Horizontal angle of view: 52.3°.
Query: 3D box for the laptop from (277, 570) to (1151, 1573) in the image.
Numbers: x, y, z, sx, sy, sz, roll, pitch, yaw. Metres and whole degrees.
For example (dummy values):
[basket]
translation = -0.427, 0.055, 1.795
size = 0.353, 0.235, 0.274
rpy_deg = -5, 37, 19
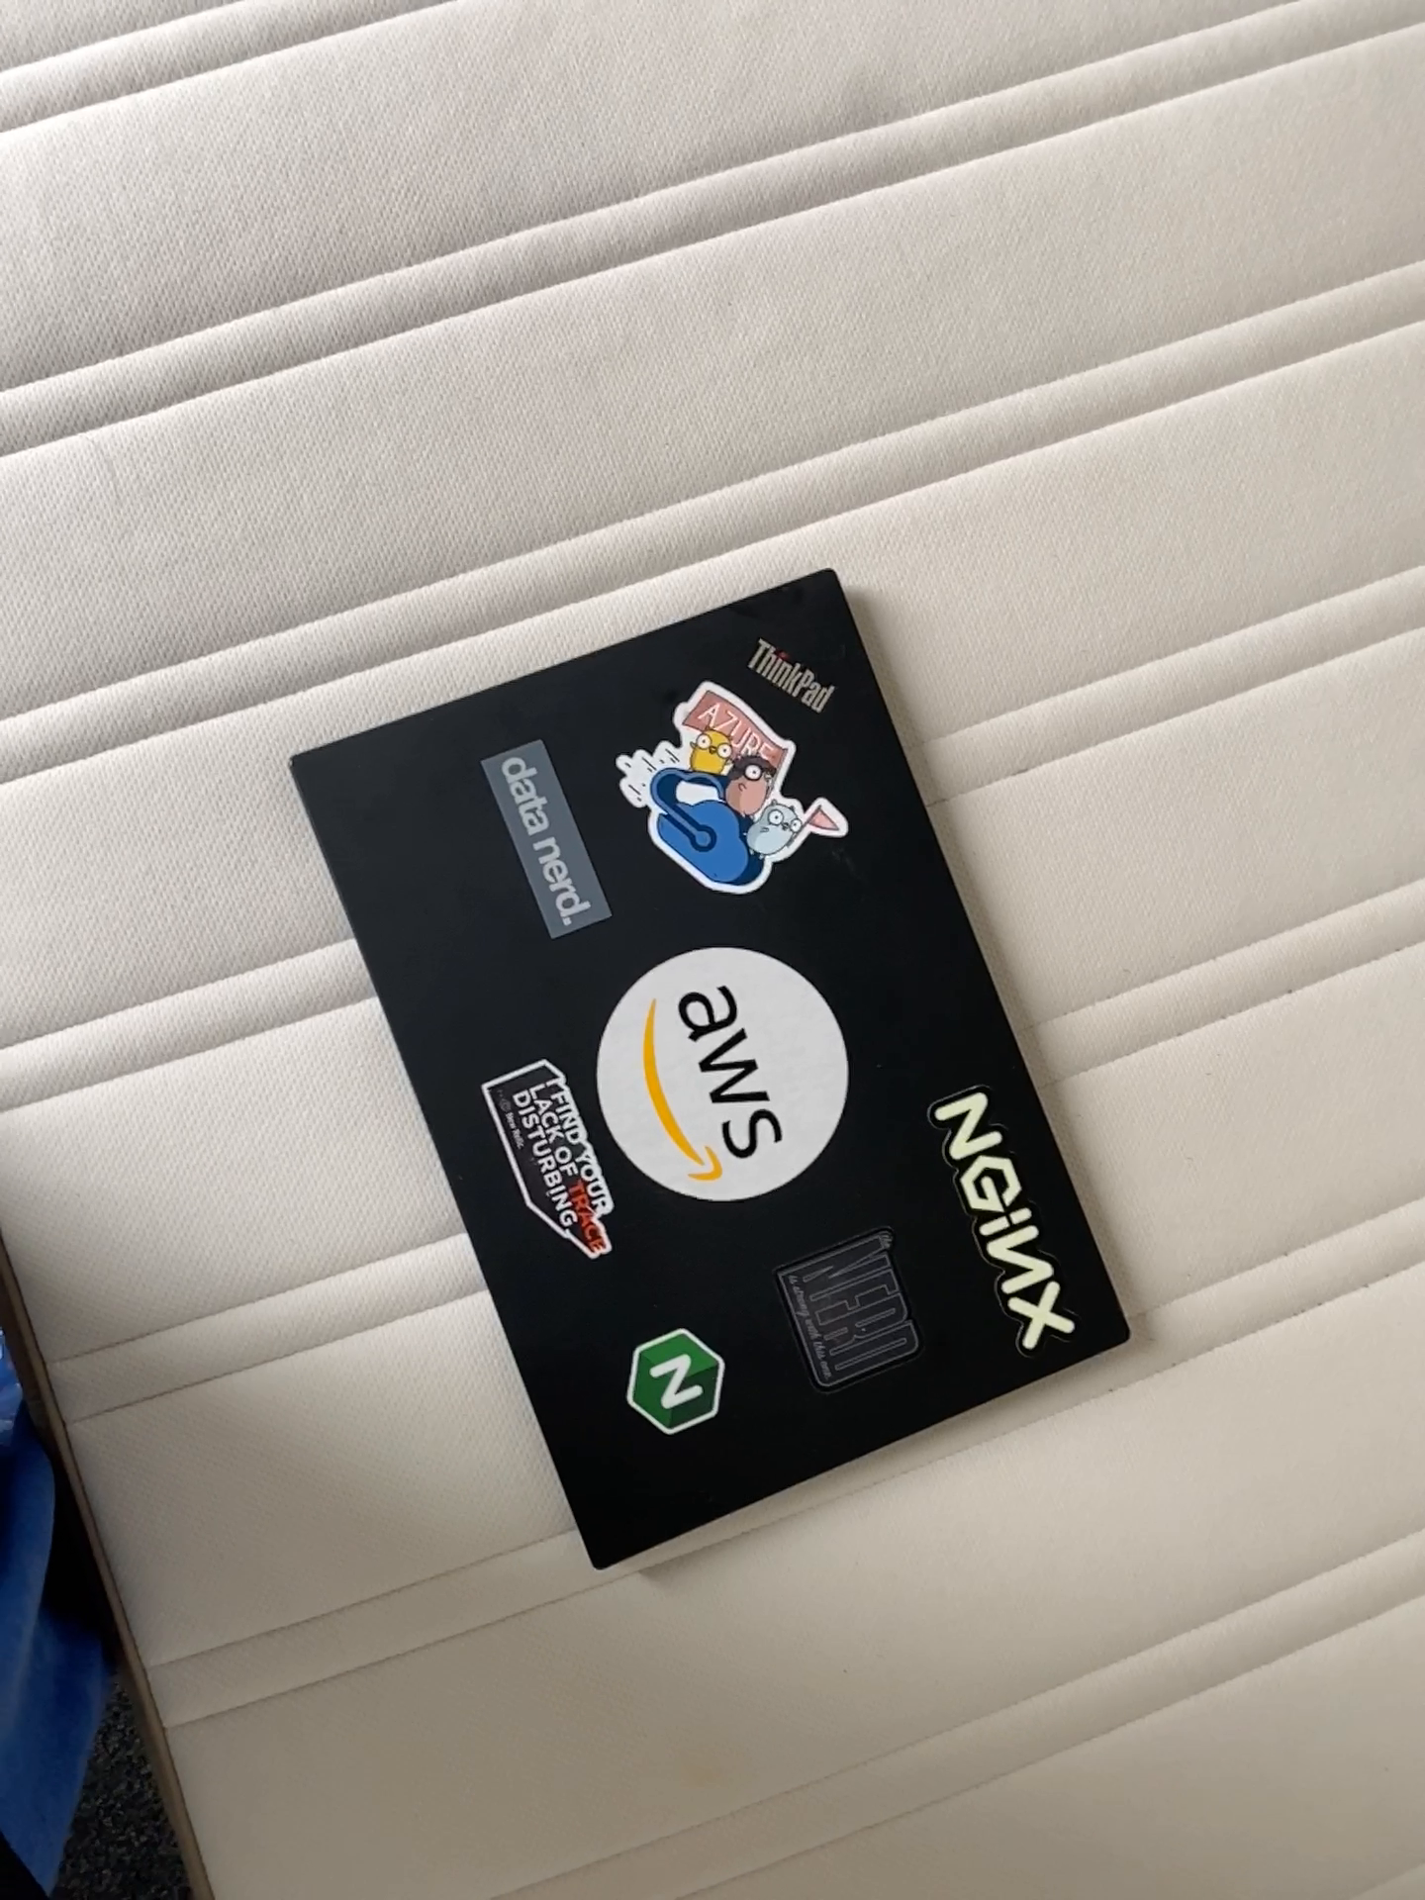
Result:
[laptop]
translation = 0.004, 0.037, 0.551
size = 0.224, 0.014, 0.322
rpy_deg = -20, 88, -10
